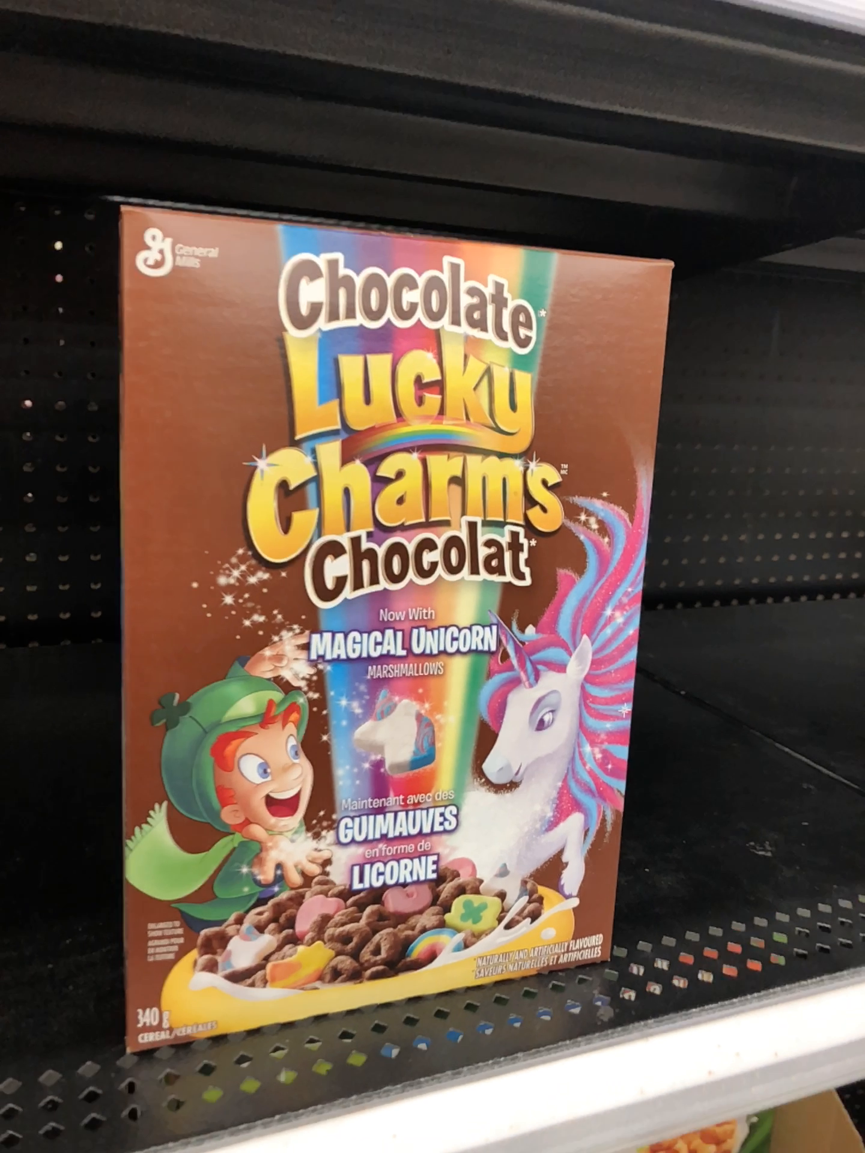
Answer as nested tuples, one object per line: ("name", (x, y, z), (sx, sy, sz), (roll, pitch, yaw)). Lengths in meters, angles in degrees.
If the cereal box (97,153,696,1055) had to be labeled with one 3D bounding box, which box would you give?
("cereal box", (-0.016, 0.013, 0.355), (0.200, 0.289, 0.050), (-1, 12, -20))
